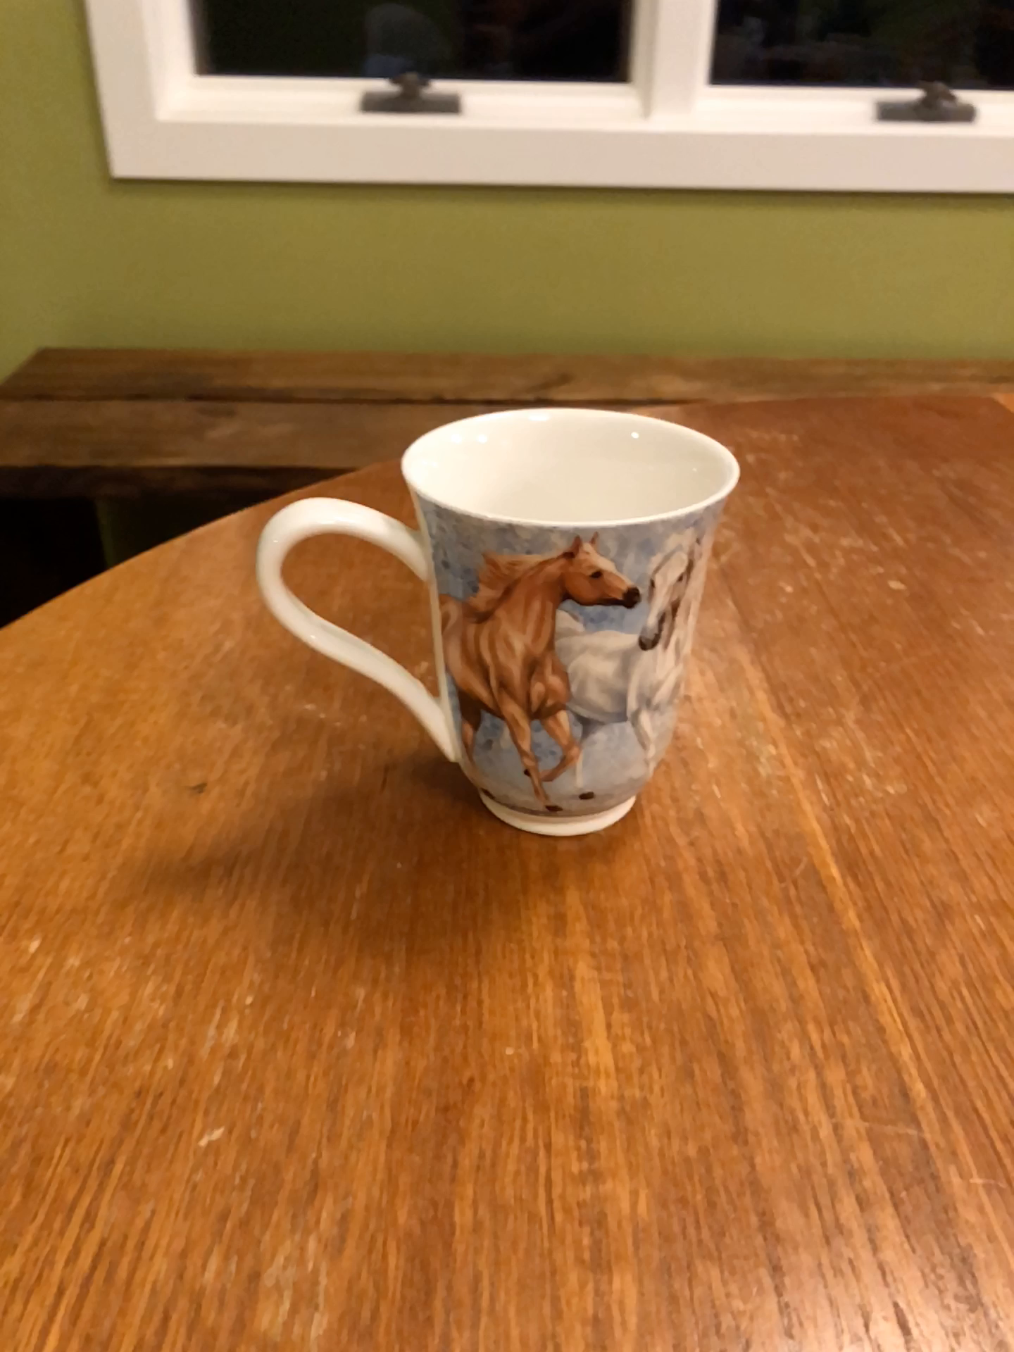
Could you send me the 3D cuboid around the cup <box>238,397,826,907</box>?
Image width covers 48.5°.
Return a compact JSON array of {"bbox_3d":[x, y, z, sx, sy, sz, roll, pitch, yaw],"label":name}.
[{"bbox_3d":[0.001,-0.013,0.314,0.133,0.098,0.083,-8,32,-15],"label":"cup"}]
